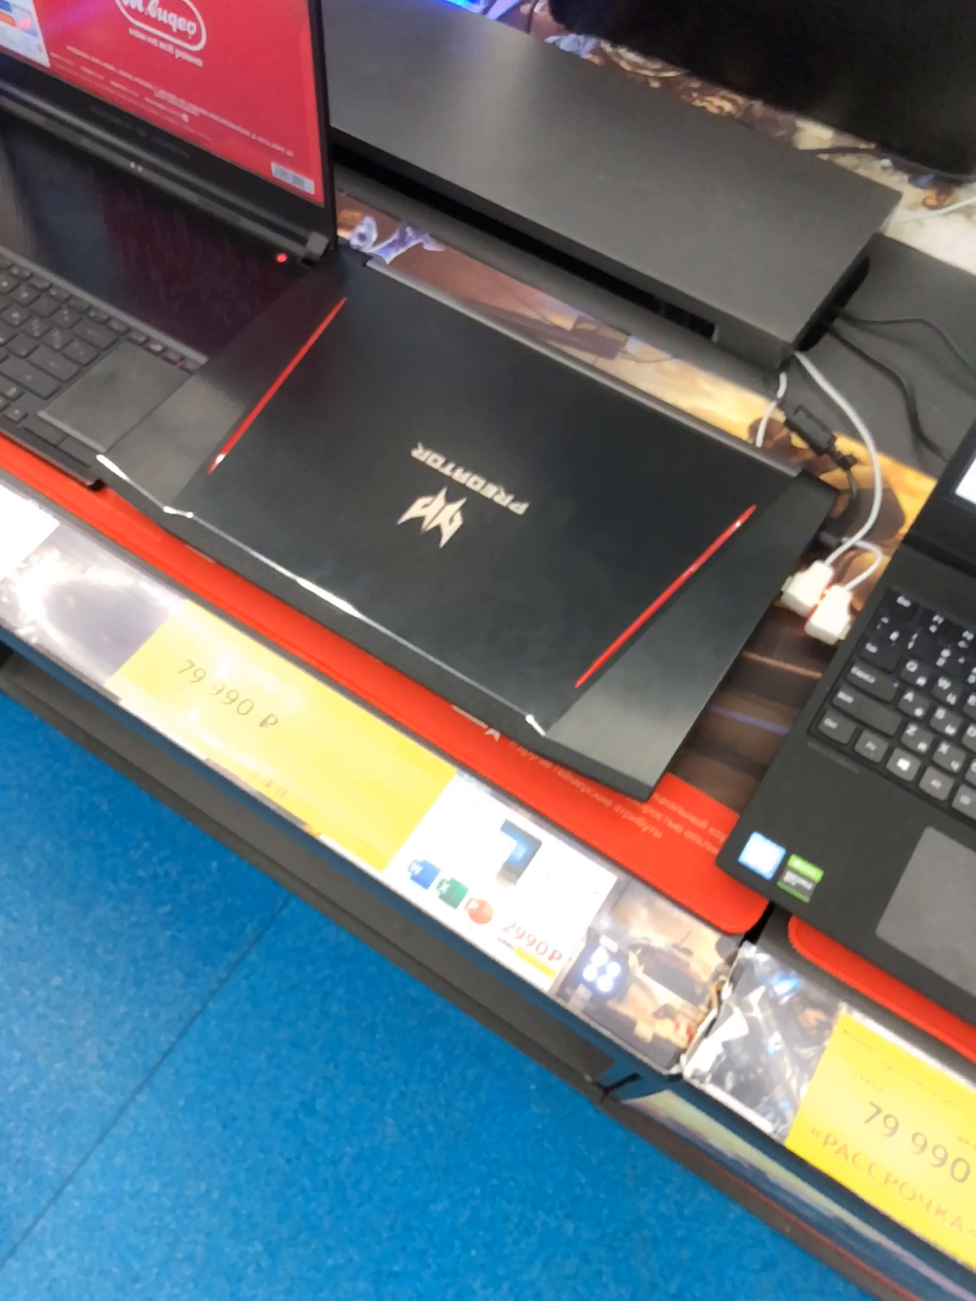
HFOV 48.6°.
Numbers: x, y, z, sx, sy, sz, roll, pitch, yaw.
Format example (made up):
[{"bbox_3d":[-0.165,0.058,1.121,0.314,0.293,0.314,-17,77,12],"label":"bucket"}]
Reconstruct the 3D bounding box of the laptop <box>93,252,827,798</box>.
[{"bbox_3d":[-0.015,-0.100,0.651,0.378,0.004,0.228,31,62,14],"label":"laptop"}]
